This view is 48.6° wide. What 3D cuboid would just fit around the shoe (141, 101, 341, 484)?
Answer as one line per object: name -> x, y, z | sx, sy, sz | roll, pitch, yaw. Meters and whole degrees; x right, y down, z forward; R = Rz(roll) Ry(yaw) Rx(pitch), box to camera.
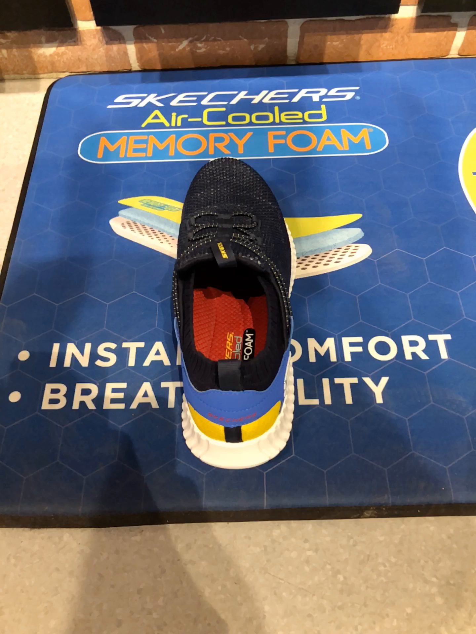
shoe -> -0.005, -0.030, 0.409 | 0.111, 0.103, 0.281 | -4, 59, 0
